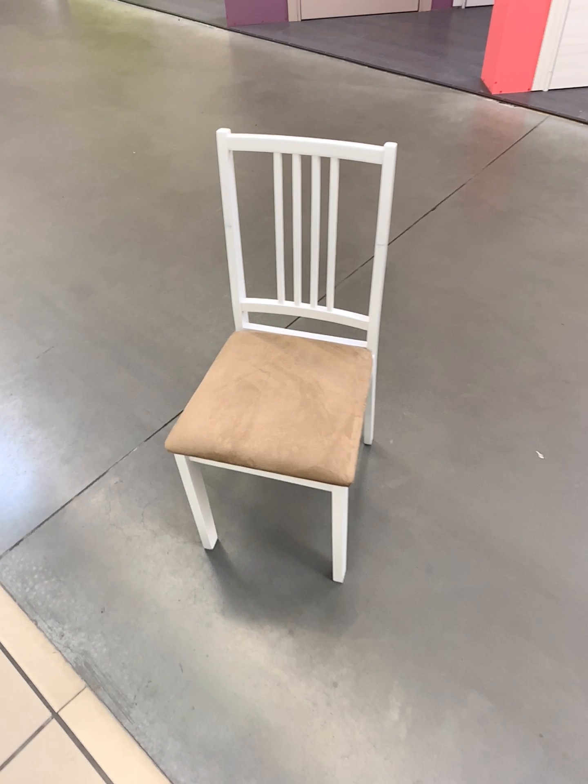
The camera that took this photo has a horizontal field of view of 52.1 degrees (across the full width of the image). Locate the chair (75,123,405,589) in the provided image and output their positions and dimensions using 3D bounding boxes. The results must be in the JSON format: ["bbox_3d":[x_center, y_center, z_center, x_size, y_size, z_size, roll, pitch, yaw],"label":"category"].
[{"bbox_3d":[-0.031,-0.038,1.267,0.400,0.817,0.502,8,49,12],"label":"chair"}]
